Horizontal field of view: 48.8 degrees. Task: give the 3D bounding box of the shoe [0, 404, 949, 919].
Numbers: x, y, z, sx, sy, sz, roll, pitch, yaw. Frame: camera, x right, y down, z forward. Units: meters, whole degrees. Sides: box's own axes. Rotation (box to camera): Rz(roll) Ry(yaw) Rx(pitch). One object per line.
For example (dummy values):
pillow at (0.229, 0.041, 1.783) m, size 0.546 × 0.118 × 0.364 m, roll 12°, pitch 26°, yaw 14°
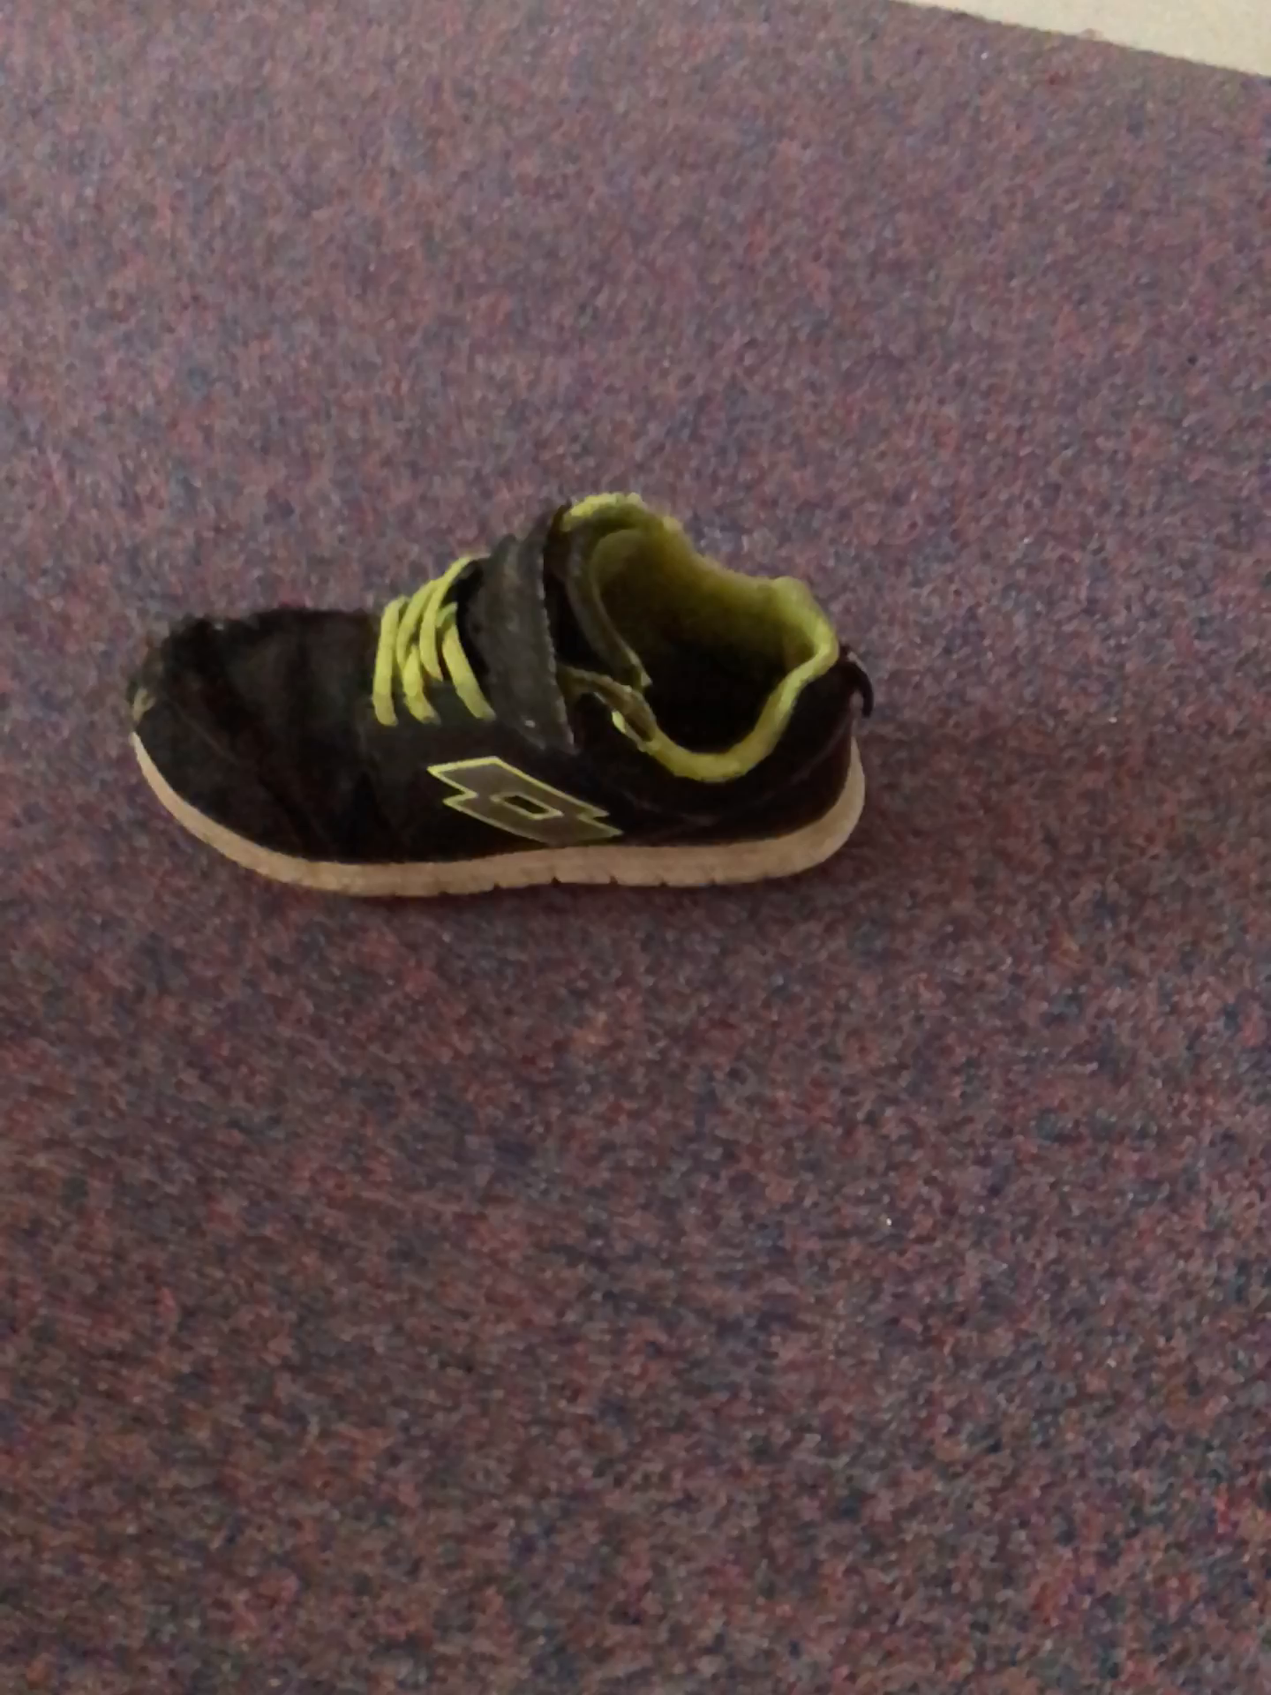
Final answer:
shoe at (-0.042, -0.046, 0.380) m, size 0.220 × 0.100 × 0.090 m, roll 1°, pitch 58°, yaw -4°
